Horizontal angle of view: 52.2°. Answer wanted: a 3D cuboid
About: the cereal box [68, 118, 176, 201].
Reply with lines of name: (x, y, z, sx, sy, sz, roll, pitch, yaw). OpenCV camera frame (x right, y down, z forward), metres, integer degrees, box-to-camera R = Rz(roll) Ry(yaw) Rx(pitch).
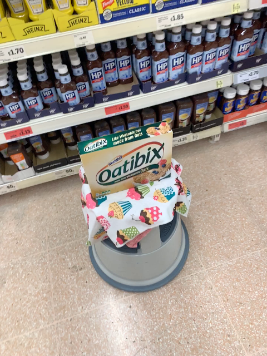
cereal box: (-0.023, -0.049, 0.776, 0.280, 0.169, 0.060, -17, 50, -9)
